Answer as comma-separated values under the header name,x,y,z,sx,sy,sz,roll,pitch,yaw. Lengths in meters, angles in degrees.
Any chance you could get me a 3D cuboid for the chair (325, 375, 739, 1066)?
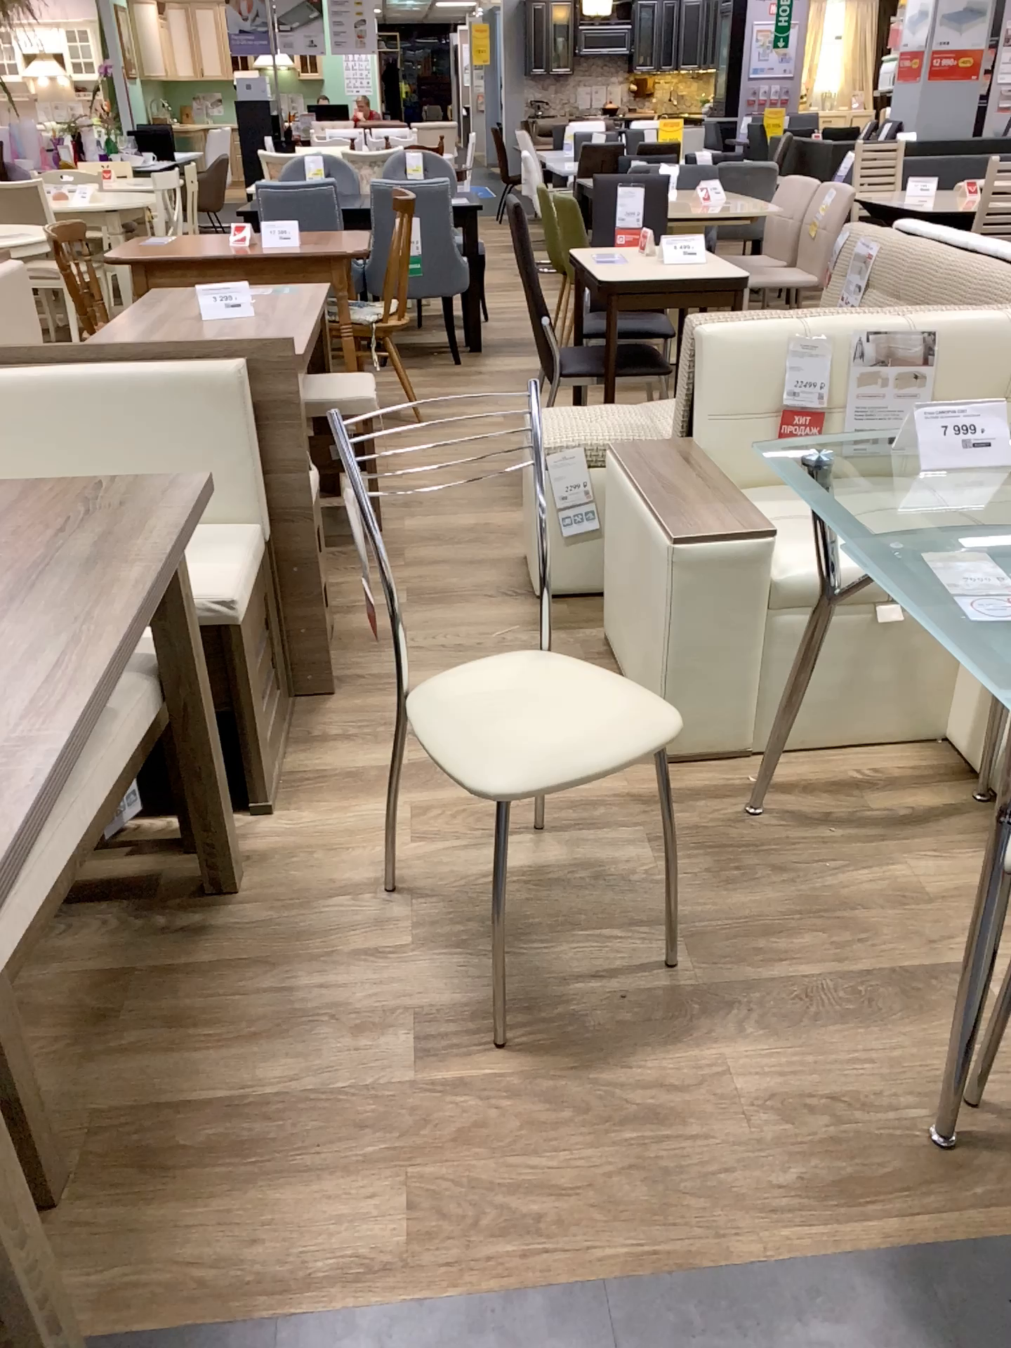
name,x,y,z,sx,sy,sz,roll,pitch,yaw
chair,0.026,0.065,1.723,0.414,0.967,0.482,-16,32,-25
